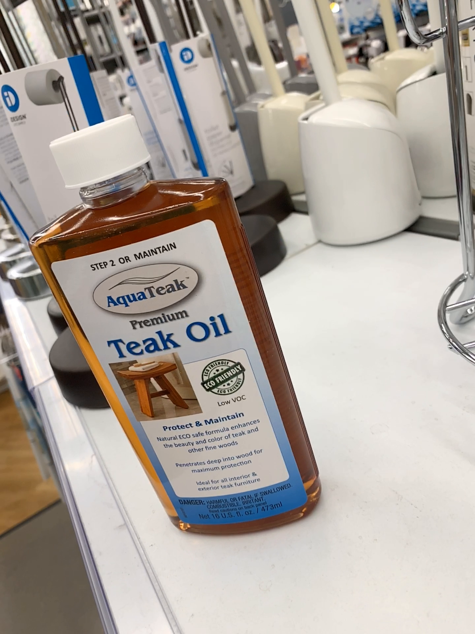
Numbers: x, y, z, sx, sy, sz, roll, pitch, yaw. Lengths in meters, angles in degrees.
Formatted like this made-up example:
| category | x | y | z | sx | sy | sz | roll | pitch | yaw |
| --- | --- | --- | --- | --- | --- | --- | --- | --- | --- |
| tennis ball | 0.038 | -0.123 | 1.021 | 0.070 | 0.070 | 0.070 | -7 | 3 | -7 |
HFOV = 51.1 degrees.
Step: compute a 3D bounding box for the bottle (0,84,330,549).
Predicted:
| category | x | y | z | sx | sy | sz | roll | pitch | yaw |
| --- | --- | --- | --- | --- | --- | --- | --- | --- | --- |
| bottle | -0.025 | 0.016 | 0.232 | 0.088 | 0.207 | 0.046 | -13 | 27 | 12 |
